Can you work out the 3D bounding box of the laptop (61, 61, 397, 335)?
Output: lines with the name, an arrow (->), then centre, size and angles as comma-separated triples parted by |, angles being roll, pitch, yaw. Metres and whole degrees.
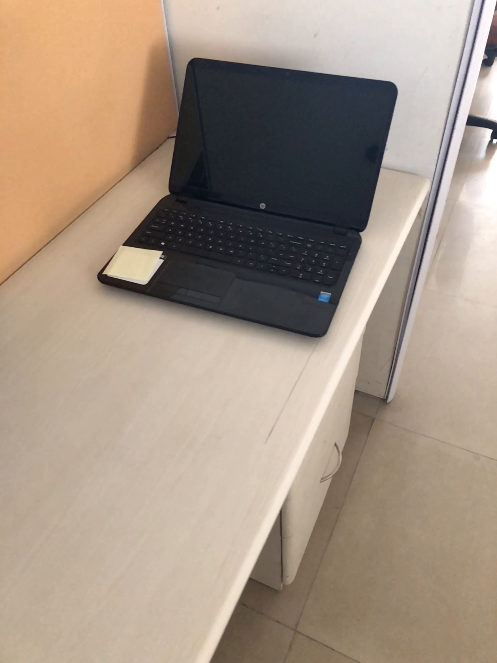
laptop -> 0.000, -0.253, 0.915 | 0.391, 0.204, 0.418 | 14, 48, 16
